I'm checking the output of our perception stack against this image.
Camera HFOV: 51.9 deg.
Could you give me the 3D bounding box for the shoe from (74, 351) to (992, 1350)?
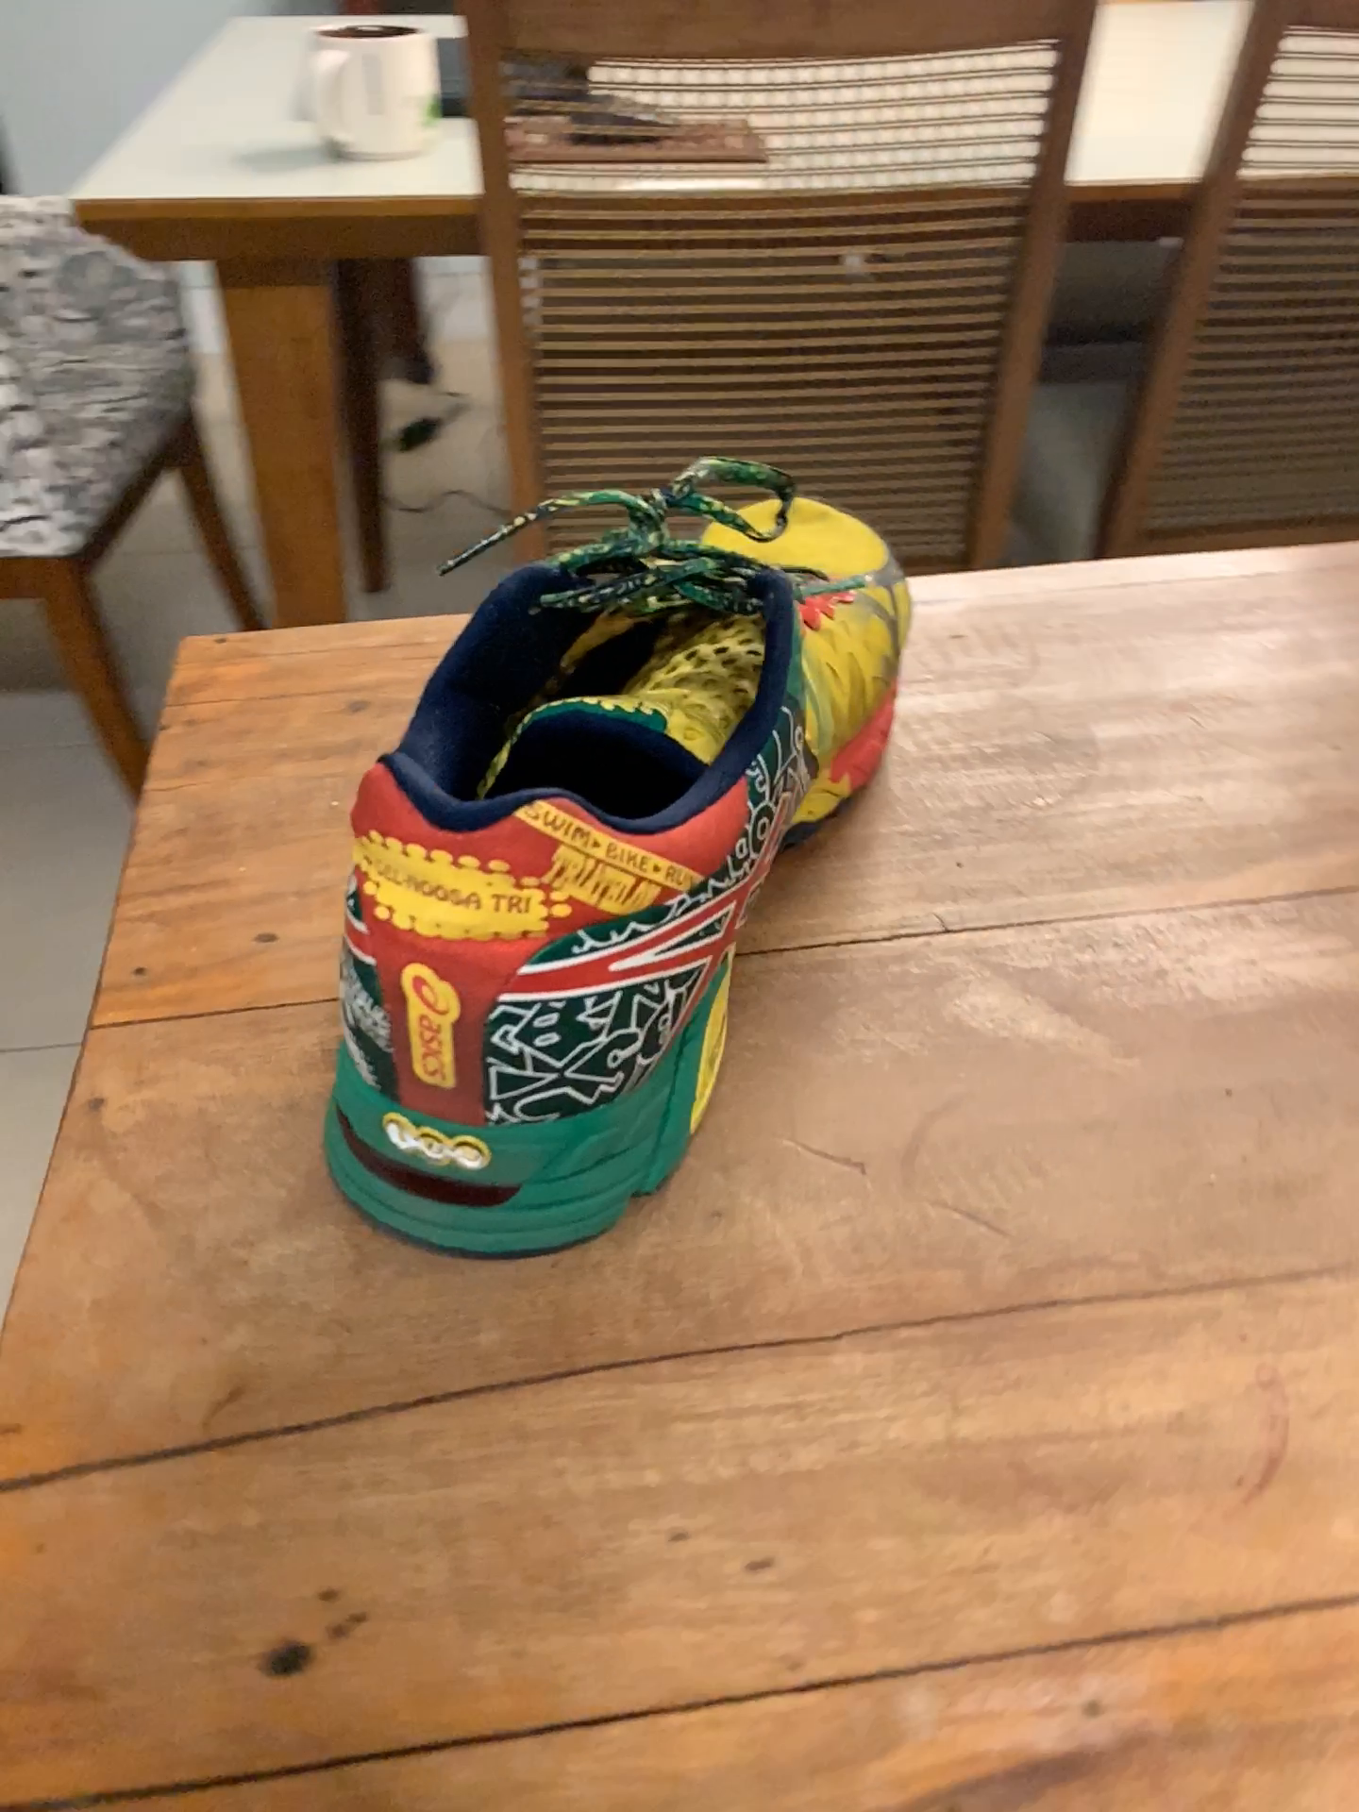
[{"bbox_3d":[-0.007,-0.048,0.382,0.113,0.102,0.296,13,41,16],"label":"shoe"}]
